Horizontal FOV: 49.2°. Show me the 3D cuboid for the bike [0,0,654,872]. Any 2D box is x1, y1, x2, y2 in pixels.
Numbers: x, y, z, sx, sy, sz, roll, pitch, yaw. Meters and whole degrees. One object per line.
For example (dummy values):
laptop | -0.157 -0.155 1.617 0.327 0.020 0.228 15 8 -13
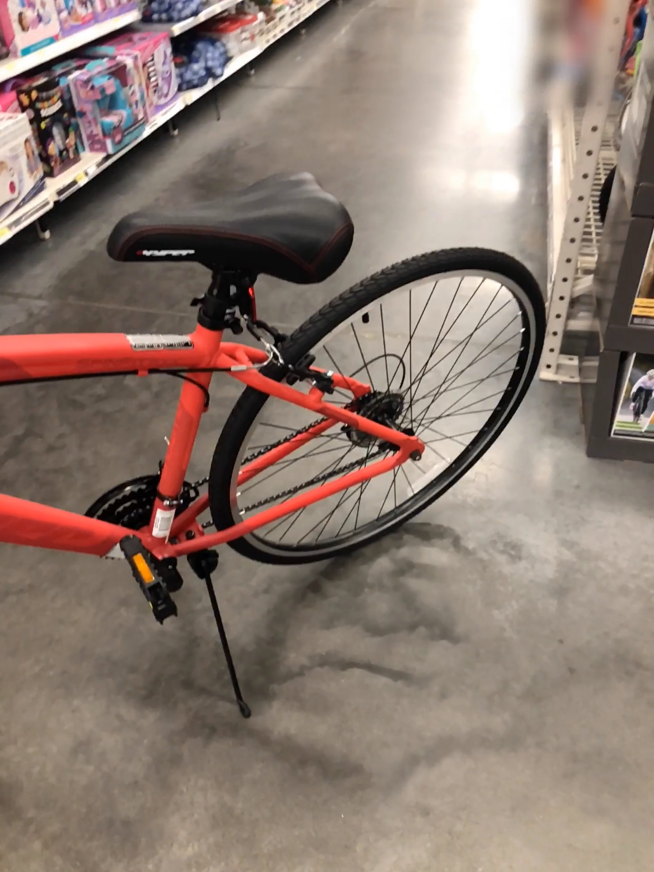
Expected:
bike | -0.312 0.092 0.881 1.689 1.000 0.616 -27 46 -25
